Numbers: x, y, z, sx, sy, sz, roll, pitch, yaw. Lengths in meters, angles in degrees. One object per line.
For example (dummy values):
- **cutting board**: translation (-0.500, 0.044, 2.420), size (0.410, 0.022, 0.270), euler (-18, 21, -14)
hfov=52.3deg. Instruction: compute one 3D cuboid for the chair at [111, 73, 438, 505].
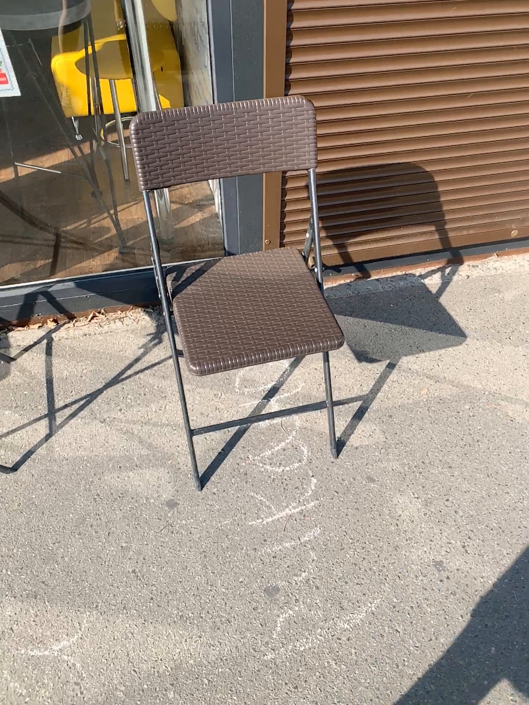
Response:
- **chair**: translation (-0.034, -0.138, 1.313), size (0.480, 0.767, 0.612), euler (-10, 49, -11)
